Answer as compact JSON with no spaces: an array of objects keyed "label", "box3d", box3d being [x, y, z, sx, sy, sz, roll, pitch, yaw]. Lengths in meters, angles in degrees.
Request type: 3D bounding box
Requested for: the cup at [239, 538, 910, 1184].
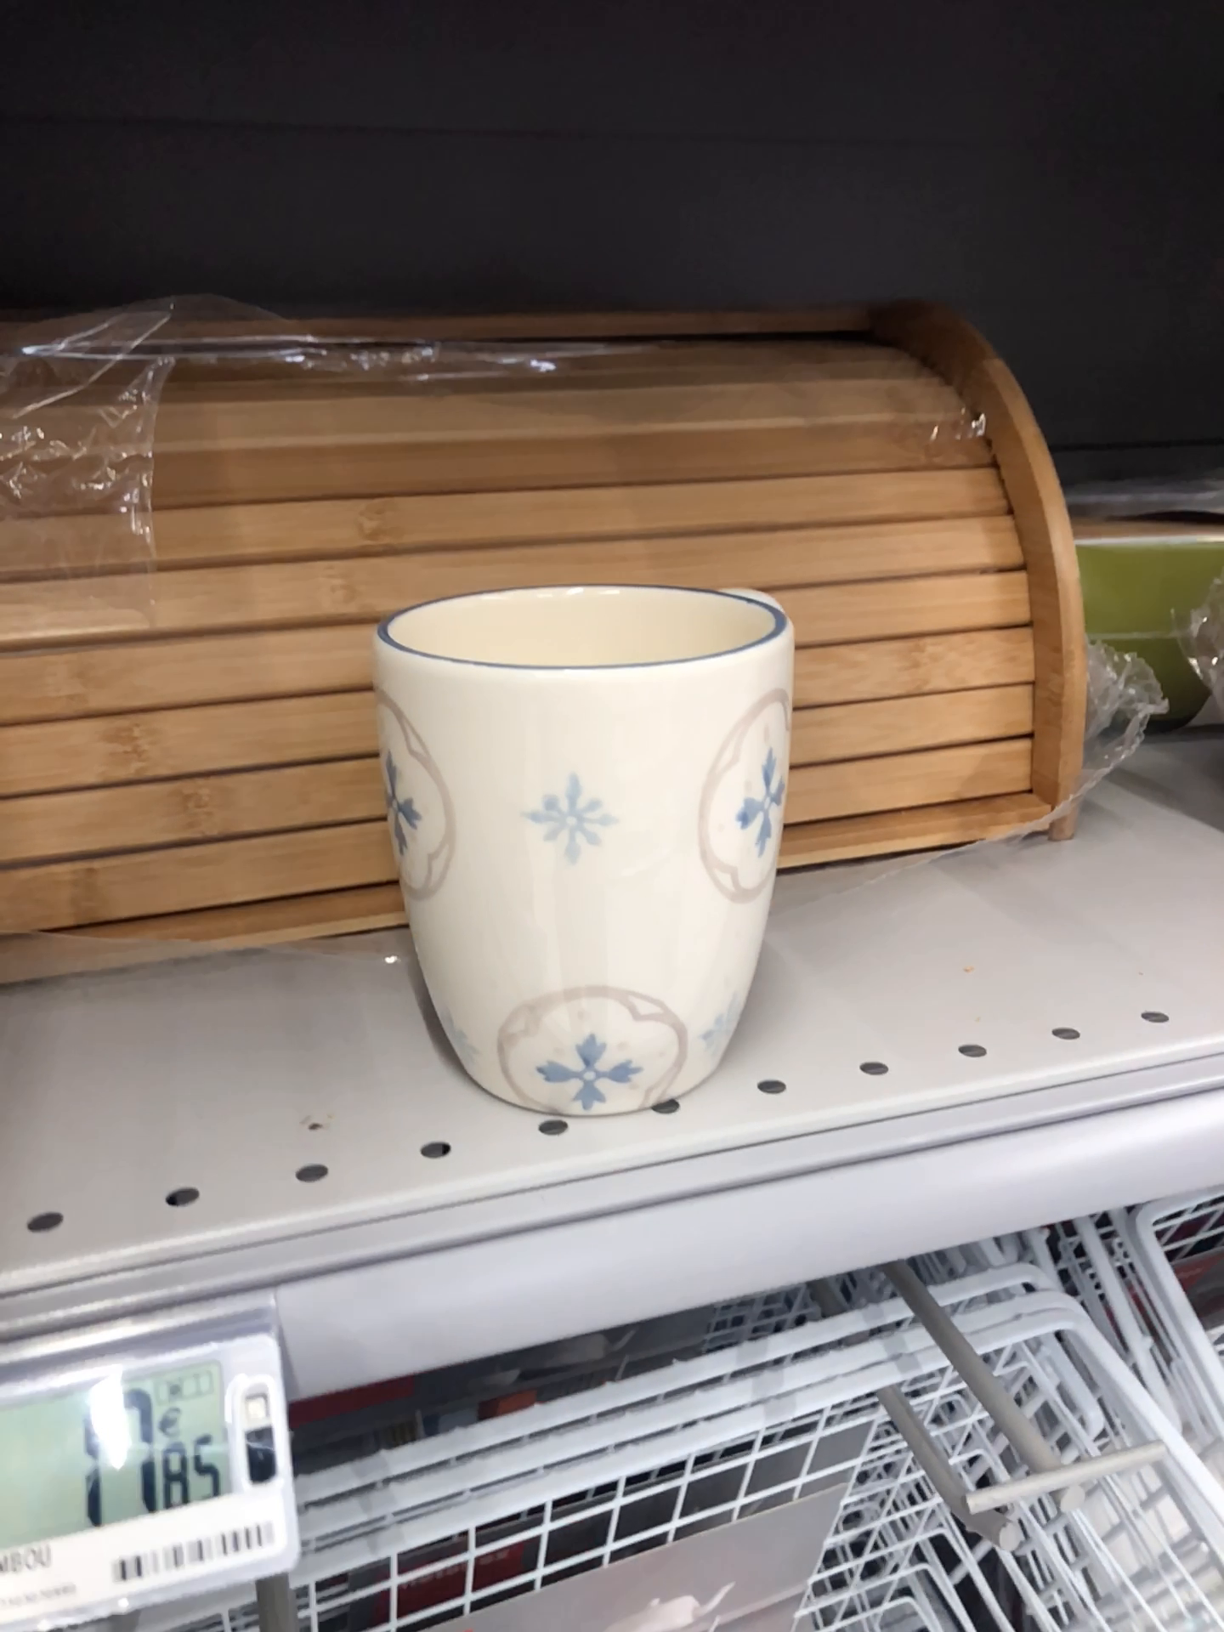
[{"label":"cup","box3d":[0.001,-0.004,0.302,0.083,0.089,0.134,11,24,28]}]
